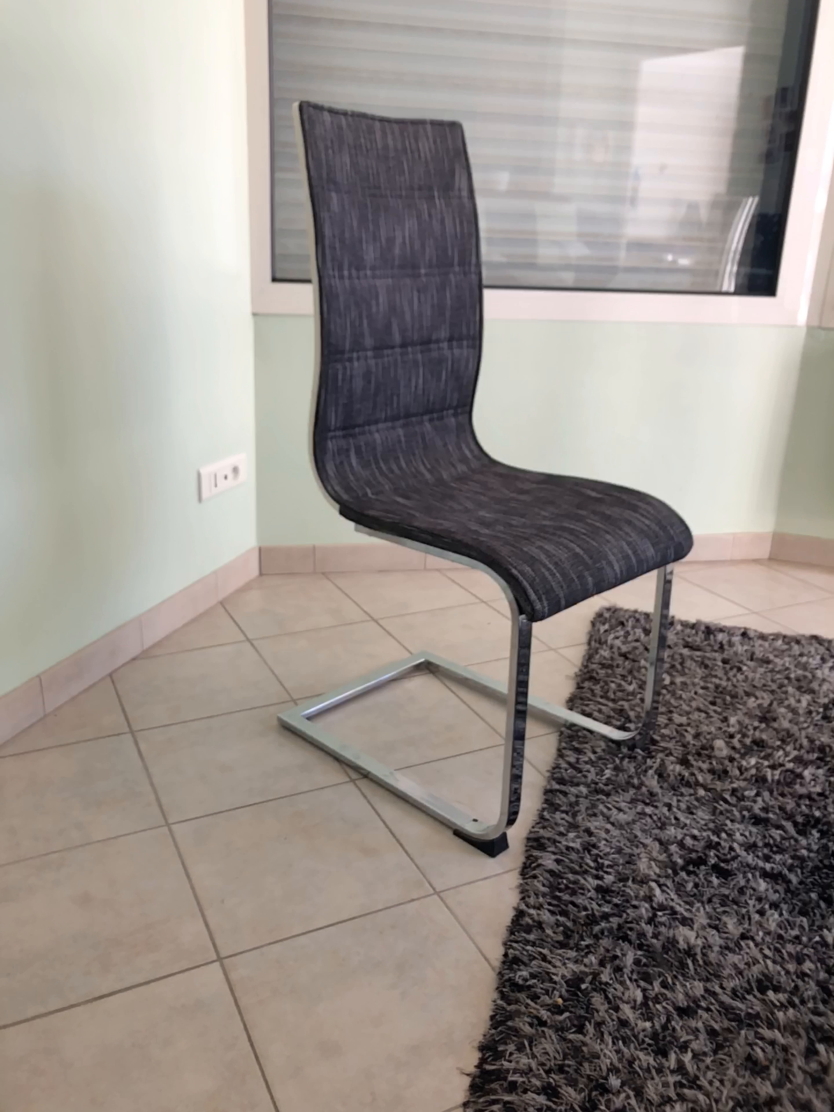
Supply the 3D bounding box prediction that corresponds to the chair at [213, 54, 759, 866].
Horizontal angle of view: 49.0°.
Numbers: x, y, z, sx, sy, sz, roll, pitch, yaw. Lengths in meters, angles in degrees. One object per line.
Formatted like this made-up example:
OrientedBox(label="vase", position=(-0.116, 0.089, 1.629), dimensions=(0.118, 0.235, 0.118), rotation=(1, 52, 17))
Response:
OrientedBox(label="chair", position=(0.076, -0.170, 1.432), dimensions=(0.580, 0.966, 0.503), rotation=(18, 24, 40))
